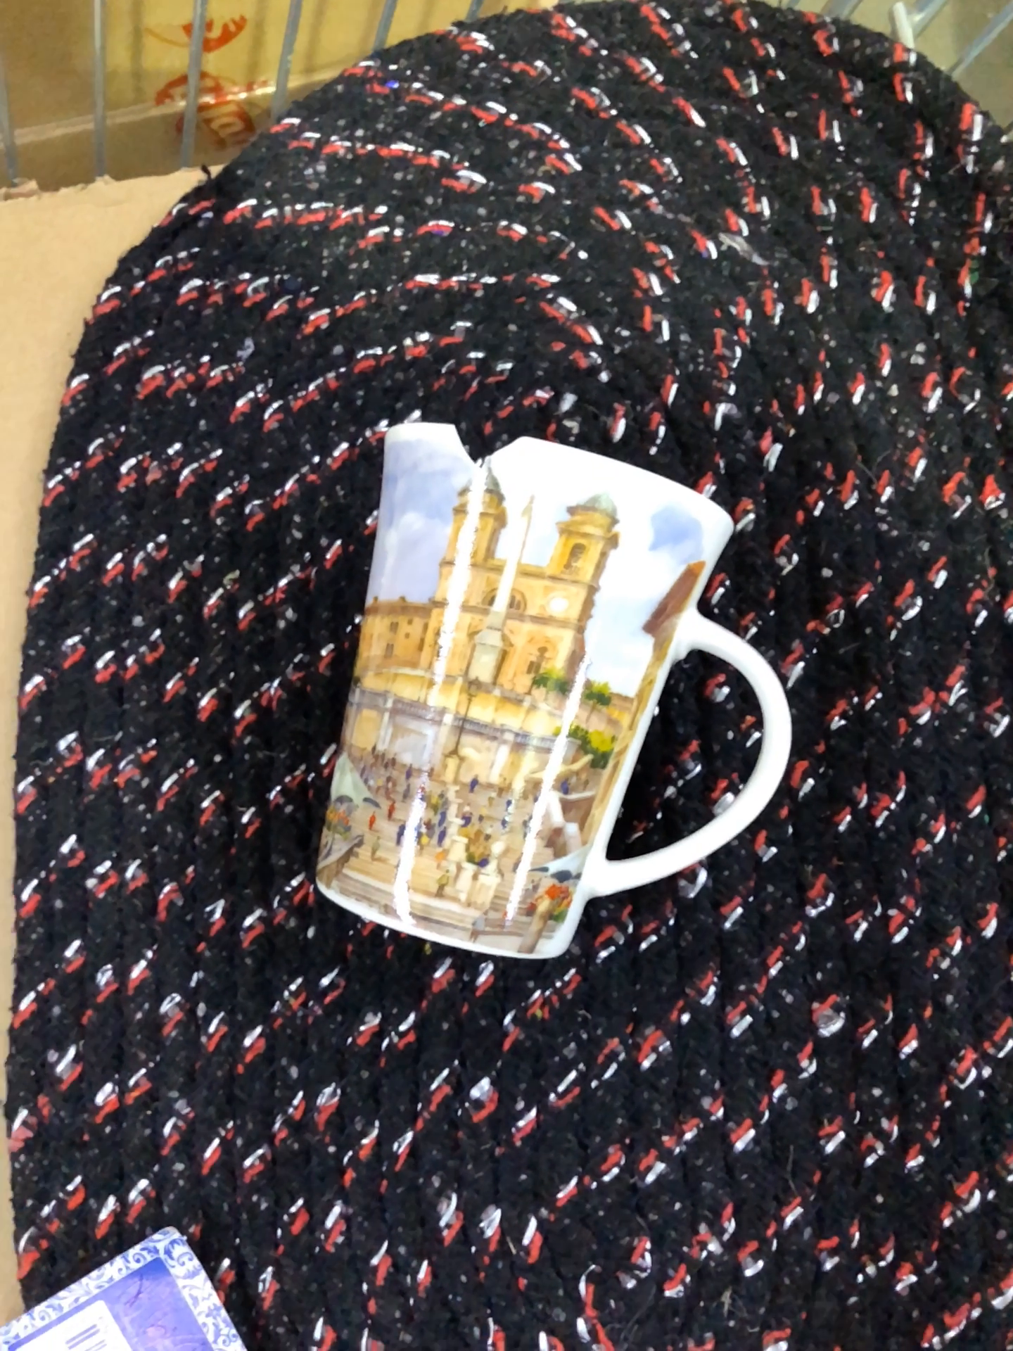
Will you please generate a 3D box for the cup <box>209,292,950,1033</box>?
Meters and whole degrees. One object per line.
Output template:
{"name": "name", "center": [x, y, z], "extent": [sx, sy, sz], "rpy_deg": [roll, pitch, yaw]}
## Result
{"name": "cup", "center": [0.014, -0.001, 0.249], "extent": [0.110, 0.090, 0.110], "rpy_deg": [0, 86, 0]}
